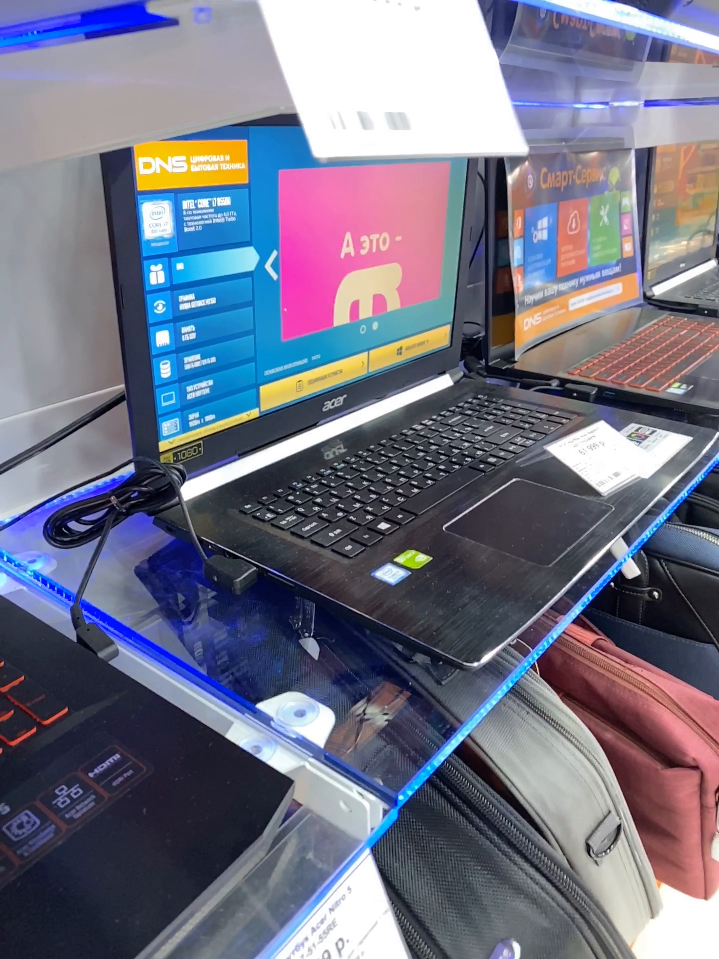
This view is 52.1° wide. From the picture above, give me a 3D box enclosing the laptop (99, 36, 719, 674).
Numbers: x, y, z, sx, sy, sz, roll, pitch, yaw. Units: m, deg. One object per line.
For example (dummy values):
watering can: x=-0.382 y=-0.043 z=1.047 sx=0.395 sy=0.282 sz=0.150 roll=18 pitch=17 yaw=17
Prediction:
laptop: x=0.089 y=-0.131 z=0.543 sx=0.273 sy=0.277 sz=0.422 roll=18 pitch=30 yaw=36
